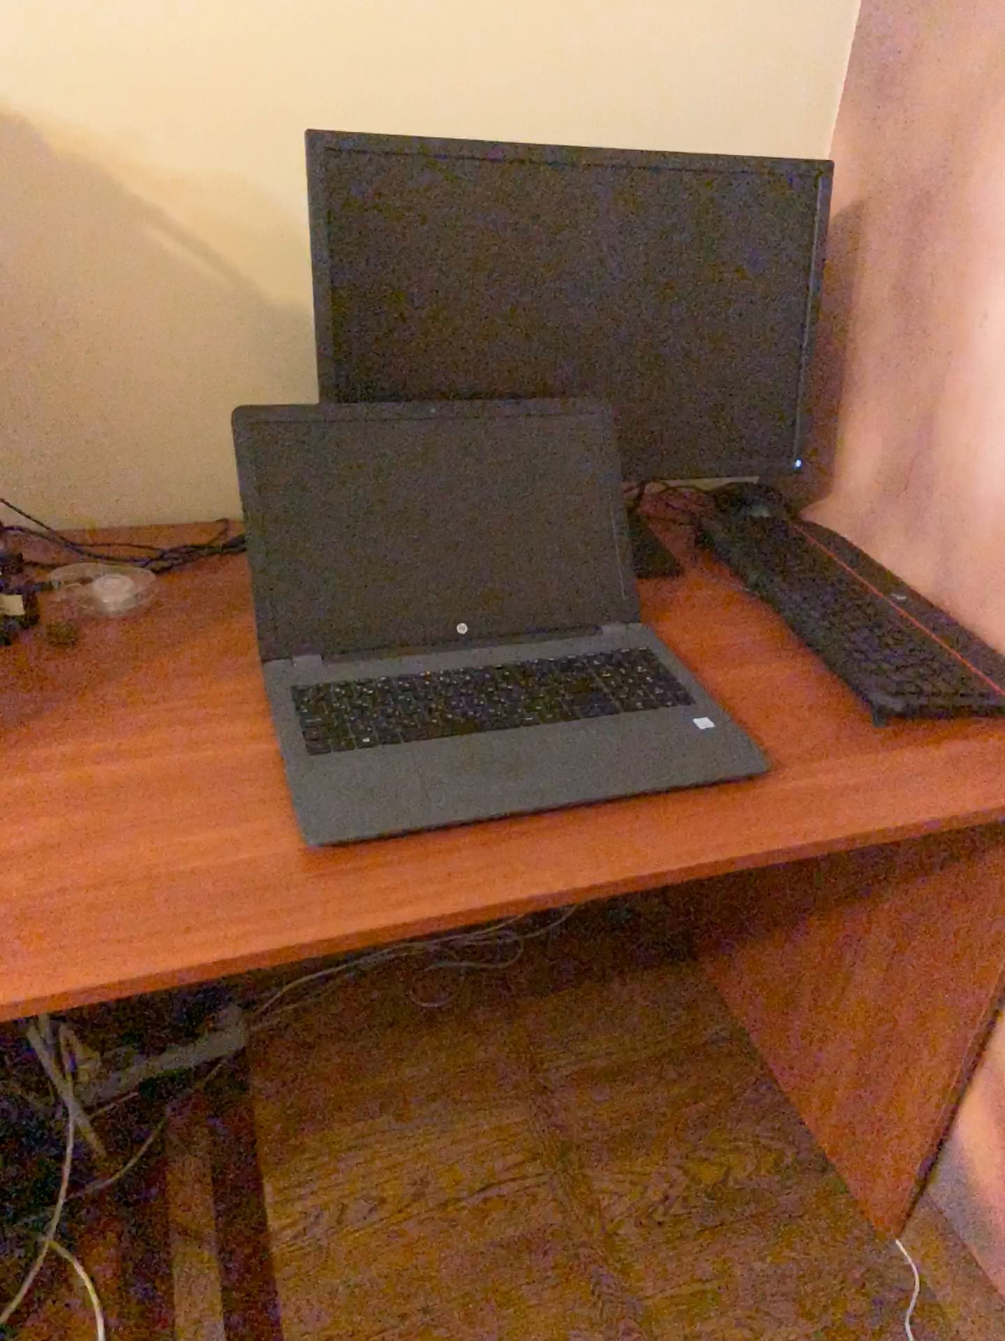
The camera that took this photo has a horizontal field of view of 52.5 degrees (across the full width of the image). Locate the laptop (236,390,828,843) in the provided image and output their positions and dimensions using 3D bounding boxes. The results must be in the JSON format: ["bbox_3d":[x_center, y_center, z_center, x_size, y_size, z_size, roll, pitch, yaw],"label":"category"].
[{"bbox_3d":[-0.011,-0.081,0.852,0.366,0.181,0.376,-6,33,-18],"label":"laptop"}]
